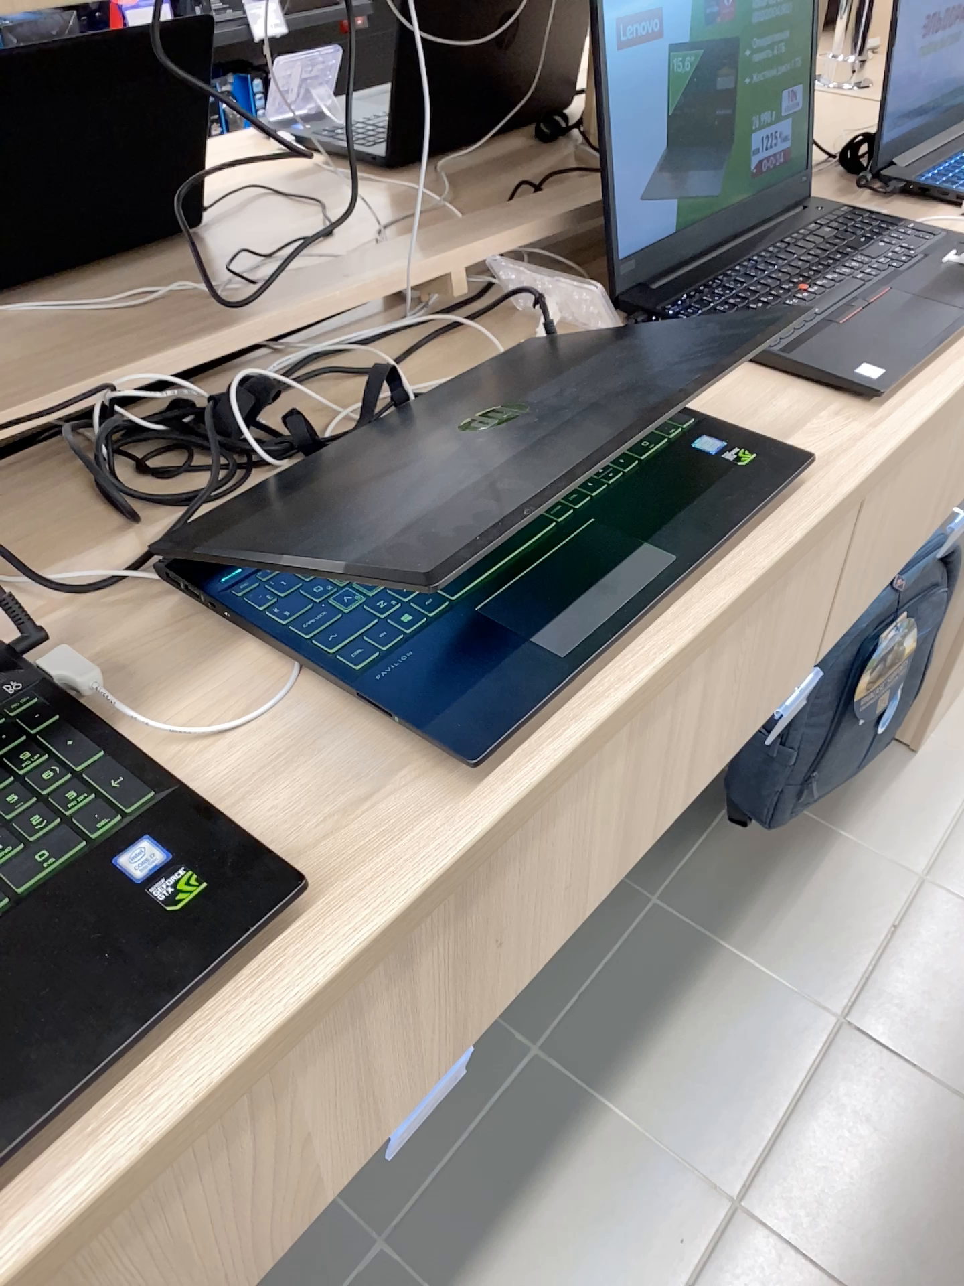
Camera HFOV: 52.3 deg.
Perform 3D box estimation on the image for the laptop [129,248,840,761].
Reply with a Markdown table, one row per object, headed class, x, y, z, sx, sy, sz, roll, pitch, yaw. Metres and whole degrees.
| class | x | y | z | sx | sy | sz | roll | pitch | yaw |
| --- | --- | --- | --- | --- | --- | --- | --- | --- | --- |
| laptop | 0.021 | -0.120 | 0.599 | 0.242 | 0.092 | 0.362 | 28 | 46 | 27 |
